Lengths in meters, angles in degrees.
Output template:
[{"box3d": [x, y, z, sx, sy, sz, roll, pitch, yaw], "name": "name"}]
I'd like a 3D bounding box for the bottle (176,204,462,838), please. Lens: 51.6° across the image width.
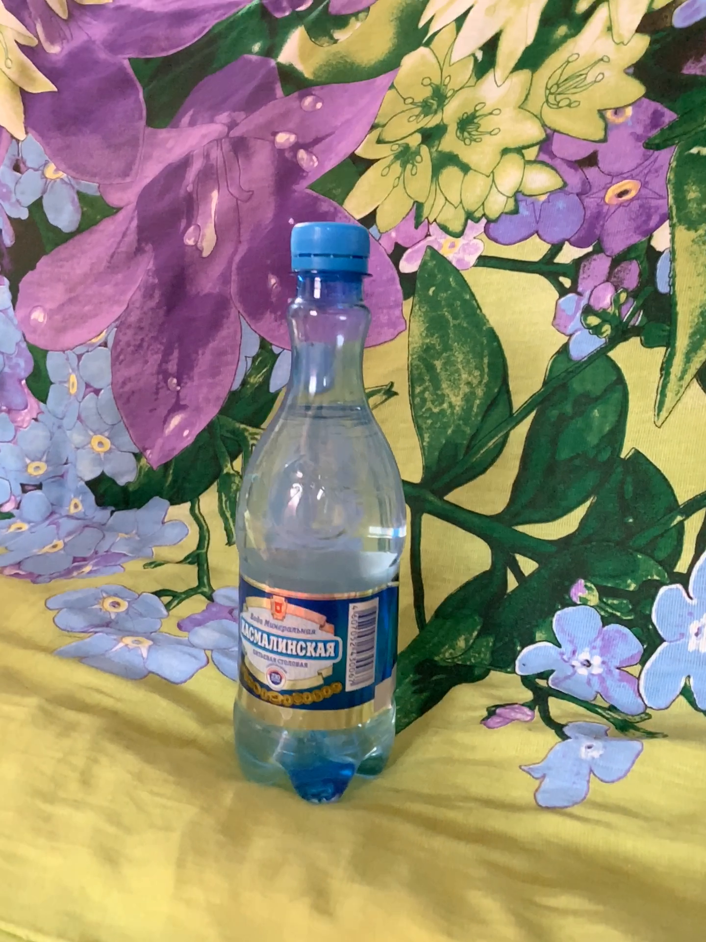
[{"box3d": [-0.011, 0.015, 0.291, 0.080, 0.219, 0.070, 7, 14, 26], "name": "bottle"}]
